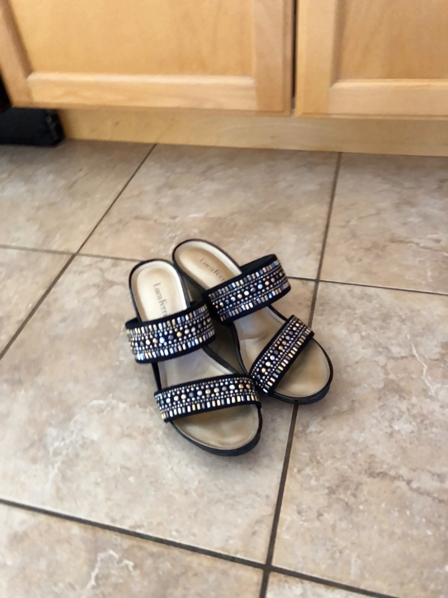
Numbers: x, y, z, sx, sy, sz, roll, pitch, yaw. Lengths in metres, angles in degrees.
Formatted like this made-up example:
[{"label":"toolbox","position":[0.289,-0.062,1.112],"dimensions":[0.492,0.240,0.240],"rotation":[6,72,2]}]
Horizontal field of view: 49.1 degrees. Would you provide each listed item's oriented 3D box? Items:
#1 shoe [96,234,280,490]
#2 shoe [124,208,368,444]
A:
[{"label":"shoe","position":[-0.040,0.048,0.478],"dimensions":[0.090,0.100,0.221],"rotation":[-21,45,-15]},{"label":"shoe","position":[0.015,0.014,0.498],"dimensions":[0.110,0.100,0.221],"rotation":[-34,50,-26]}]
